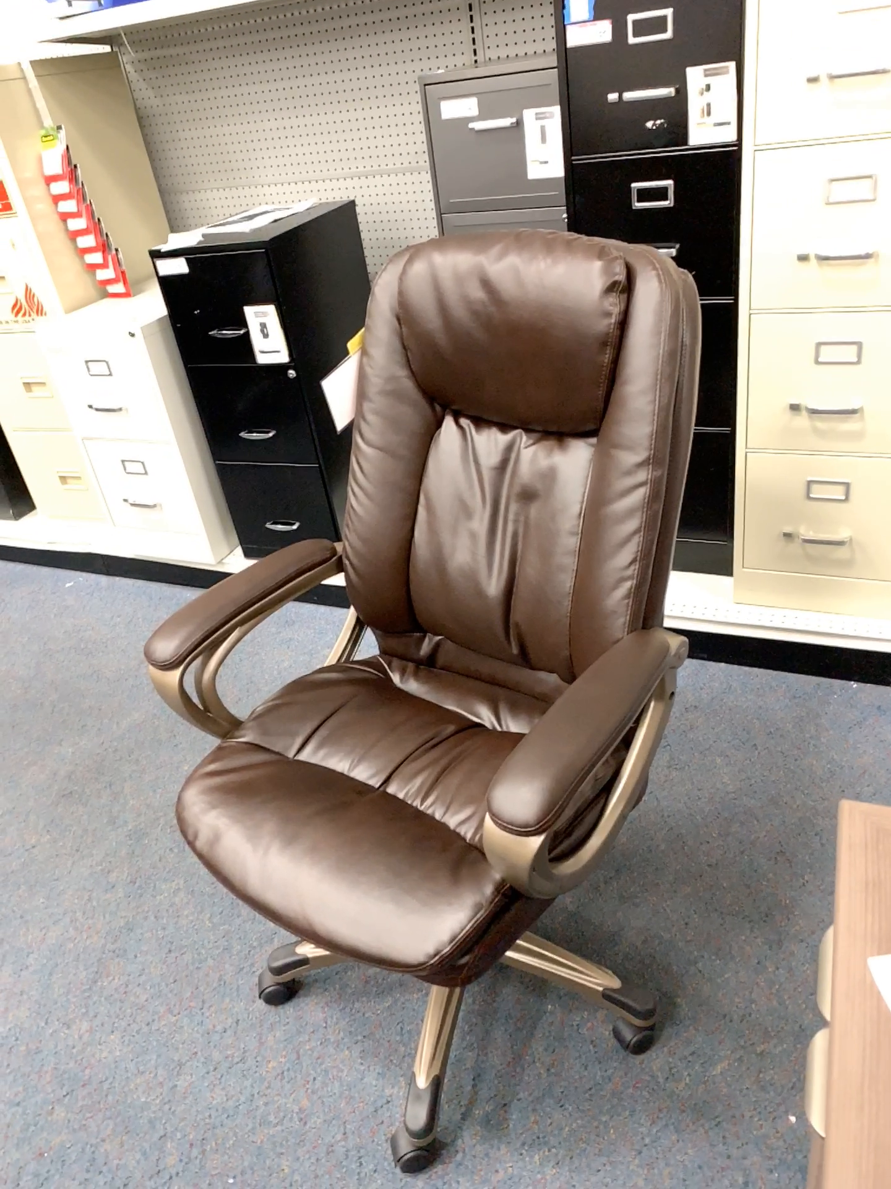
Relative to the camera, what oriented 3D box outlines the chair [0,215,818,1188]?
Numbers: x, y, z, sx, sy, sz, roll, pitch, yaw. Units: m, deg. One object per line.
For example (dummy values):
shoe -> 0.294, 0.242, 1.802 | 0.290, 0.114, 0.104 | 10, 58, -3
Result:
chair -> -0.018, 0.125, 1.331 | 0.726, 1.112, 0.813 | 18, 41, 37
